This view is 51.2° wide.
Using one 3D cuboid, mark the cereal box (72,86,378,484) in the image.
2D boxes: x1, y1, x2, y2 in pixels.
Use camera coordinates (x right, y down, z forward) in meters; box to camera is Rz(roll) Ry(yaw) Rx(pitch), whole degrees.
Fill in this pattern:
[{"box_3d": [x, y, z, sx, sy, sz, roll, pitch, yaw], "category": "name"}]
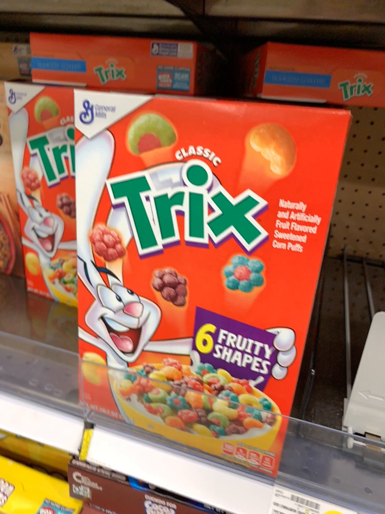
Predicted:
[{"box_3d": [0.008, 0.024, 0.333, 0.200, 0.289, 0.060, 12, 22, 16], "category": "cereal box"}]
